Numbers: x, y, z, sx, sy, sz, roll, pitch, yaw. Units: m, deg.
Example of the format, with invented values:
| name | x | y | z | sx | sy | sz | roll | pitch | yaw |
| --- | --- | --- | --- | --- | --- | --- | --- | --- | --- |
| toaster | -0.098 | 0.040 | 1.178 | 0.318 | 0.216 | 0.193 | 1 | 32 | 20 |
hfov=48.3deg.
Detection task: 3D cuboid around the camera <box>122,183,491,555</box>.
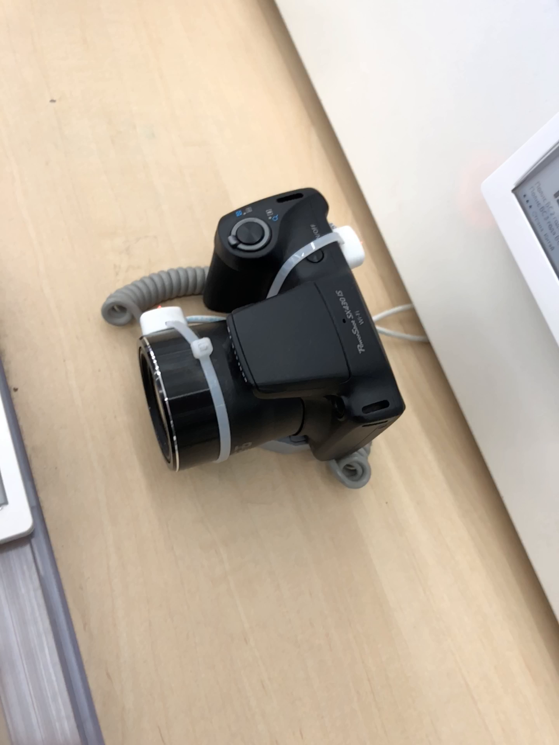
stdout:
| name | x | y | z | sx | sy | sz | roll | pitch | yaw |
| --- | --- | --- | --- | --- | --- | --- | --- | --- | --- |
| camera | 0.006 | -0.005 | 0.249 | 0.093 | 0.063 | 0.117 | -14 | 74 | -30 |
